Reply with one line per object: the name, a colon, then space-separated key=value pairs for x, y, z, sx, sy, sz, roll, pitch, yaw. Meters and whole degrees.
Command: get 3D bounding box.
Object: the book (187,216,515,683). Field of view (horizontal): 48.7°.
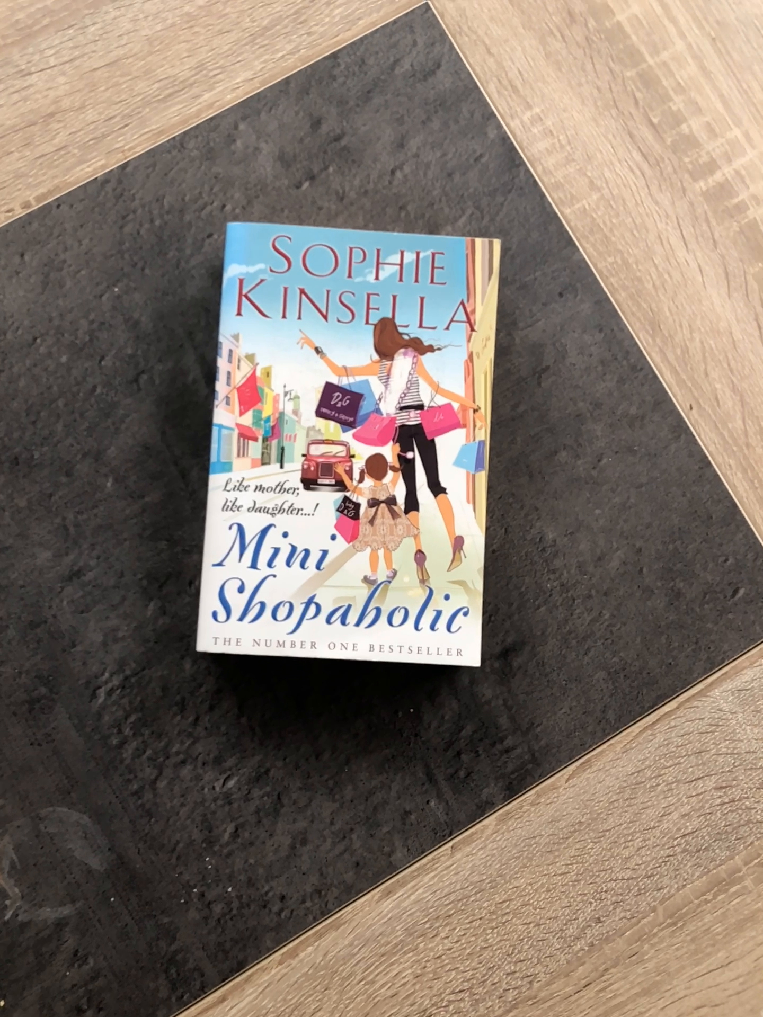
book: x=-0.012 y=-0.027 z=0.390 sx=0.132 sy=0.036 sz=0.200 roll=4 pitch=84 yaw=-1
